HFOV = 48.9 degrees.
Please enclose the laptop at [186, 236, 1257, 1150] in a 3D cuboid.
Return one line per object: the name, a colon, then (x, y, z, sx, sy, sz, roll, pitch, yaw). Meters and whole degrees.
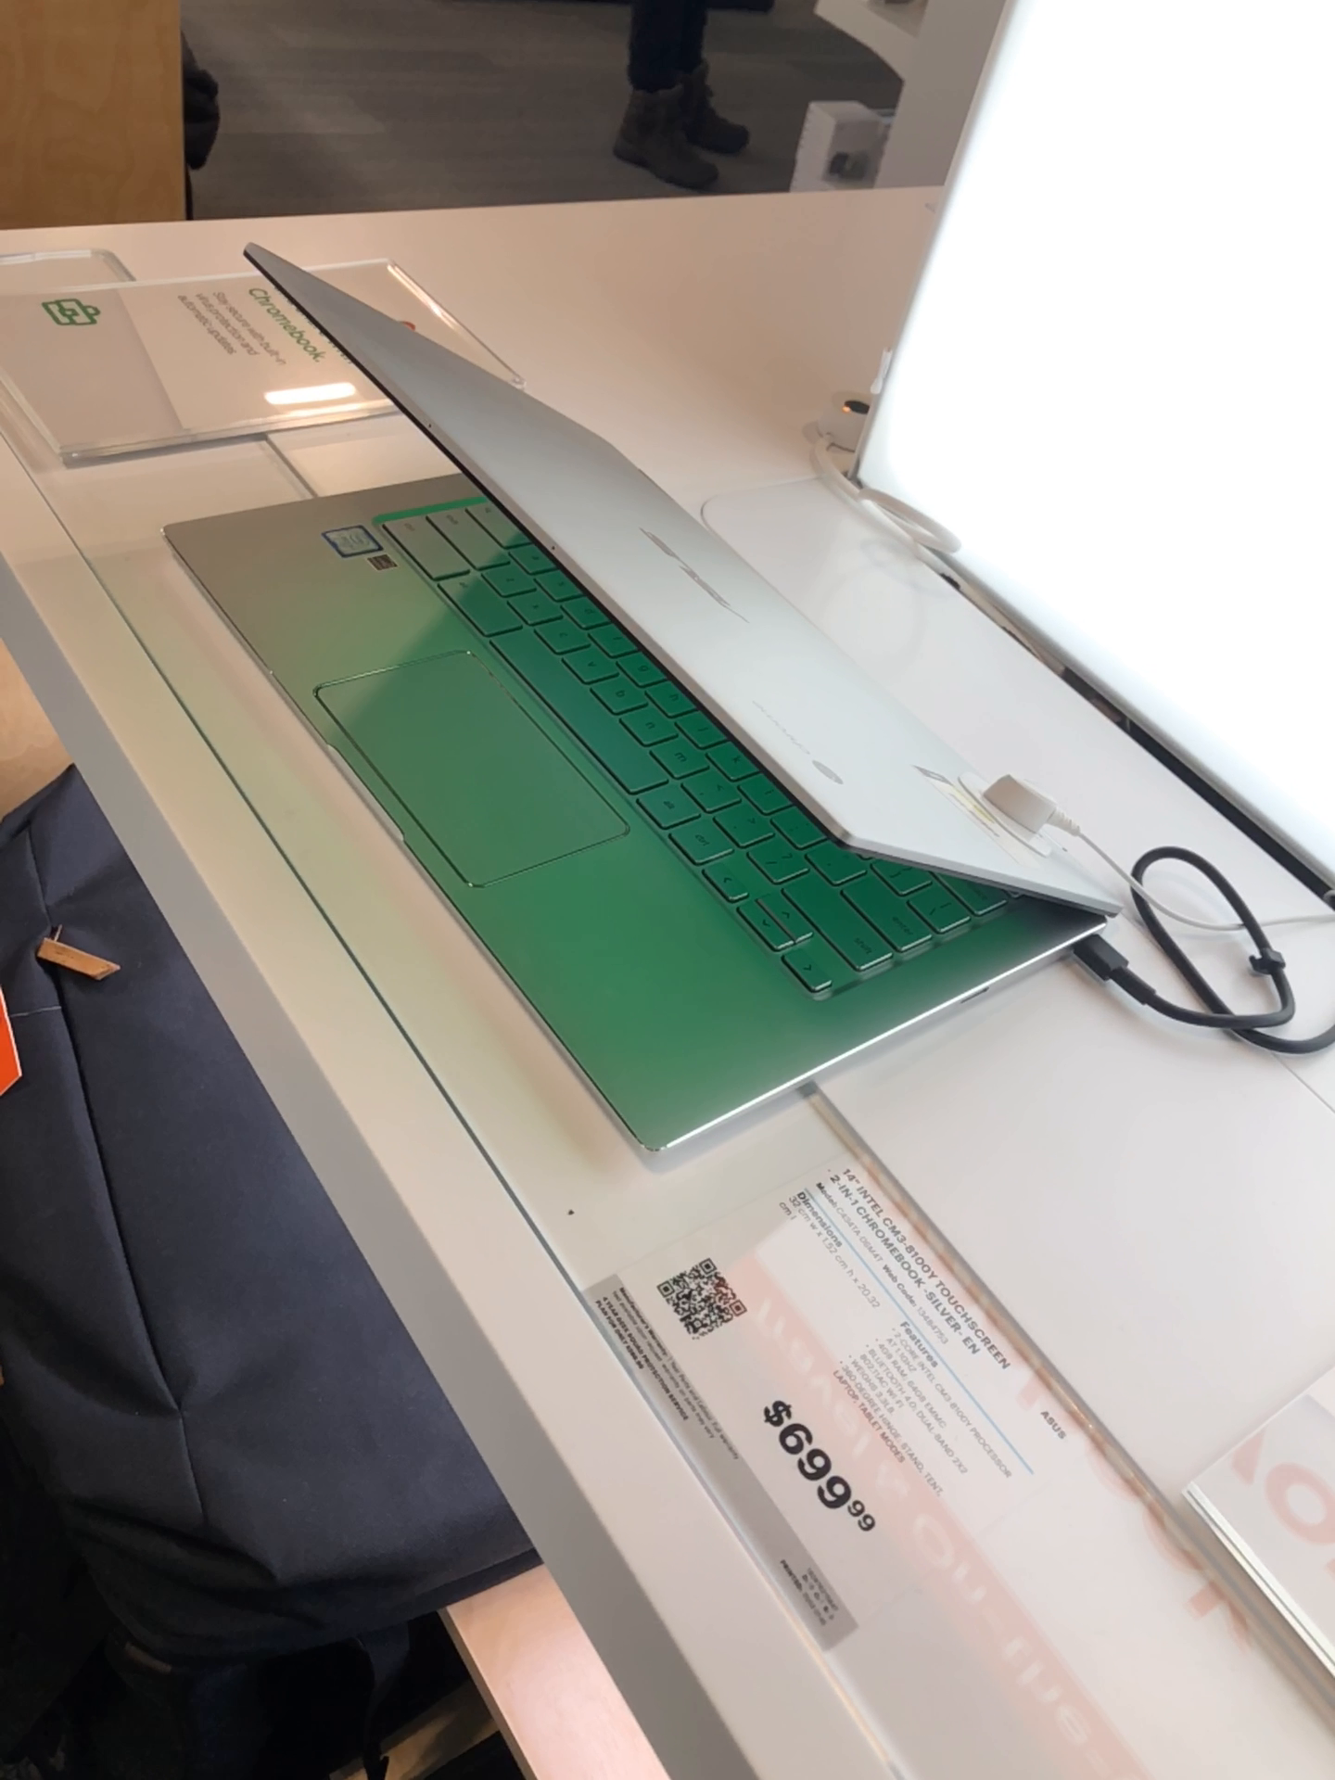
laptop: (-0.005, -0.096, 0.487, 0.193, 0.102, 0.312, -20, 53, -32)
